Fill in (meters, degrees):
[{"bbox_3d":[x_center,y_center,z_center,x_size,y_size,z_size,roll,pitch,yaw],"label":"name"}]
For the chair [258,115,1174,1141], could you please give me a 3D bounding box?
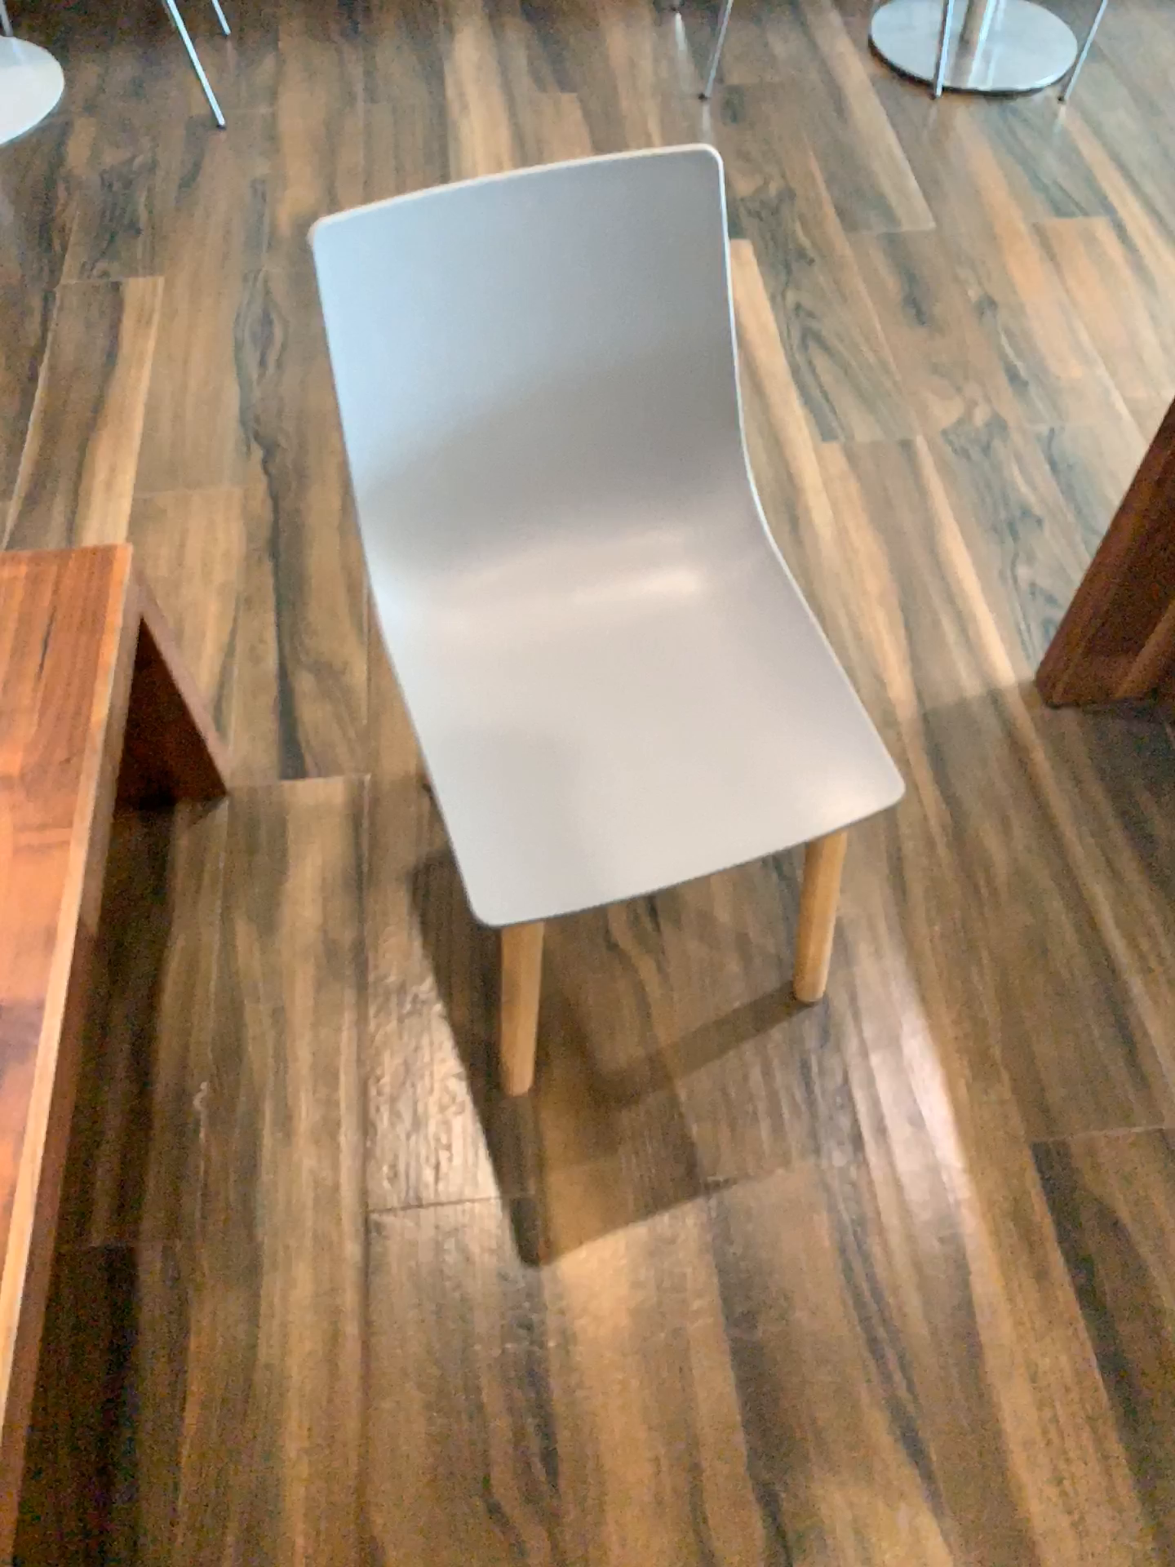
[{"bbox_3d":[0.055,-0.104,1.149,0.500,0.696,0.563,-14,58,-9],"label":"chair"}]
